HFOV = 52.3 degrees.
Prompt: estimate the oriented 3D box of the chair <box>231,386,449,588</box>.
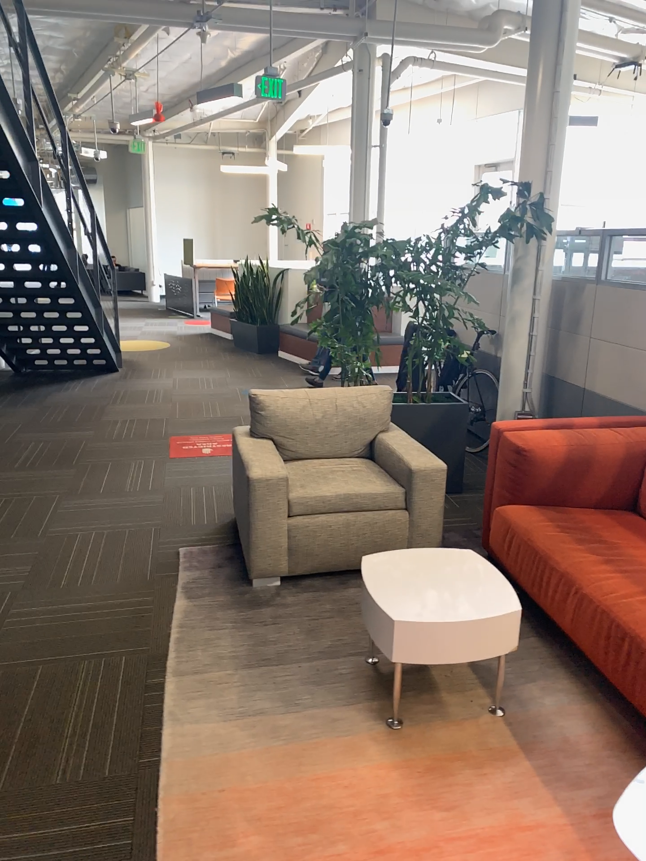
[{"bbox_3d":[0.026,0.230,3.419,0.920,0.727,0.874,-2,16,-13],"label":"chair"}]
